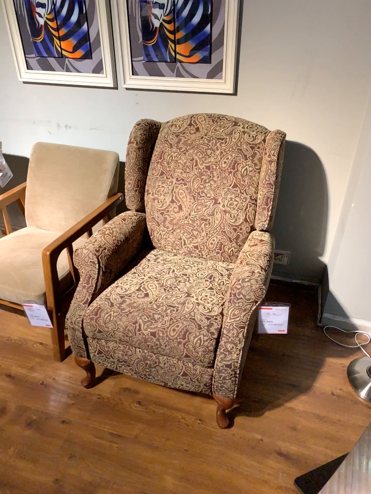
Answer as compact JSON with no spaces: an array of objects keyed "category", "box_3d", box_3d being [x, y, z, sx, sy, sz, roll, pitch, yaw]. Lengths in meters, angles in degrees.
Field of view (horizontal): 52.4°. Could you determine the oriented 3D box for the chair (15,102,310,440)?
[{"category":"chair","box_3d":[0.003,0.030,1.498,0.750,0.956,0.763,10,34,15]}]
